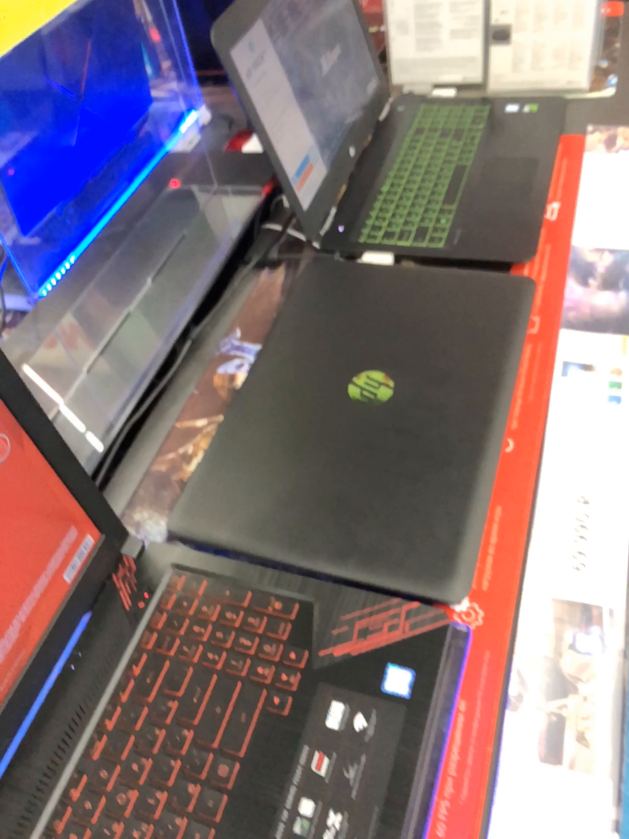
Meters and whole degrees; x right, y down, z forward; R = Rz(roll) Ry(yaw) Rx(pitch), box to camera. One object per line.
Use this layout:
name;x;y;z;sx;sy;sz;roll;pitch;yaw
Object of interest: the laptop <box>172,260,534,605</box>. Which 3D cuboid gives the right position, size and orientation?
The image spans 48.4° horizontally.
laptop;0.056;-0.023;0.640;0.233;0.012;0.367;10;50;17
